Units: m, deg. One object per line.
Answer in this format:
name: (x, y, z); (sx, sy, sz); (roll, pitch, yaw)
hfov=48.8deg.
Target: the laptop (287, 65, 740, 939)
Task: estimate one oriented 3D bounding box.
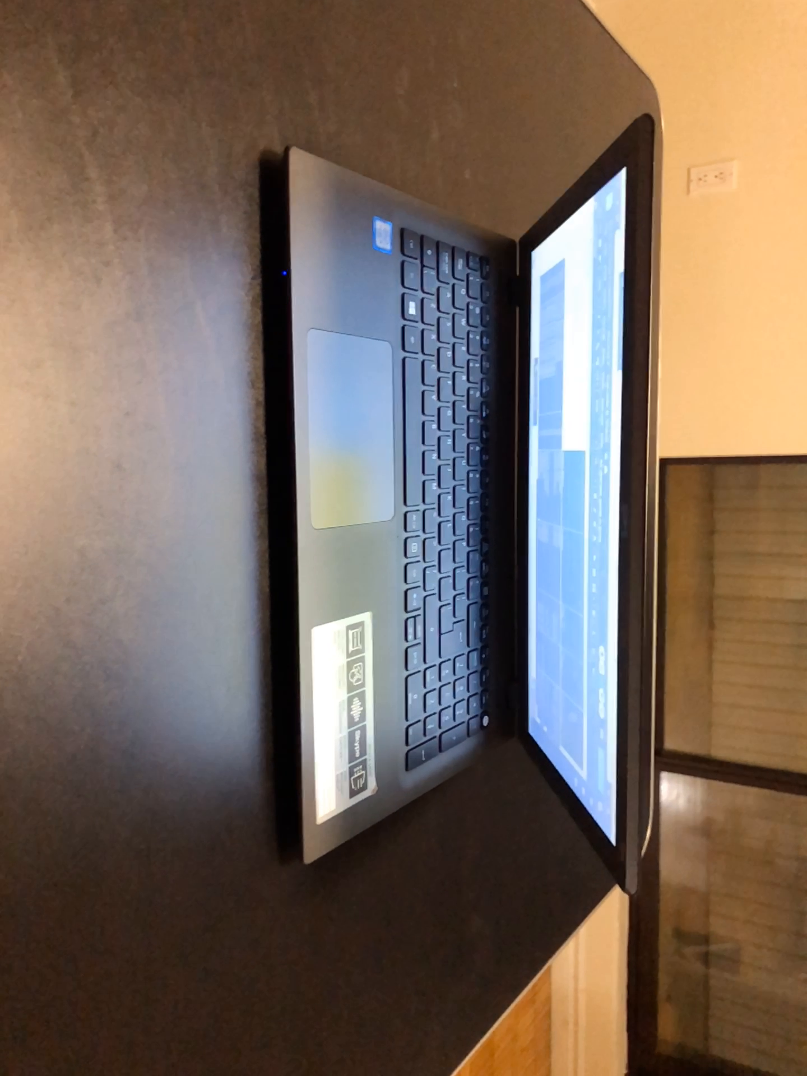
laptop: (0.080, -0.020, 0.520); (0.252, 0.155, 0.368); (-9, 100, -56)
